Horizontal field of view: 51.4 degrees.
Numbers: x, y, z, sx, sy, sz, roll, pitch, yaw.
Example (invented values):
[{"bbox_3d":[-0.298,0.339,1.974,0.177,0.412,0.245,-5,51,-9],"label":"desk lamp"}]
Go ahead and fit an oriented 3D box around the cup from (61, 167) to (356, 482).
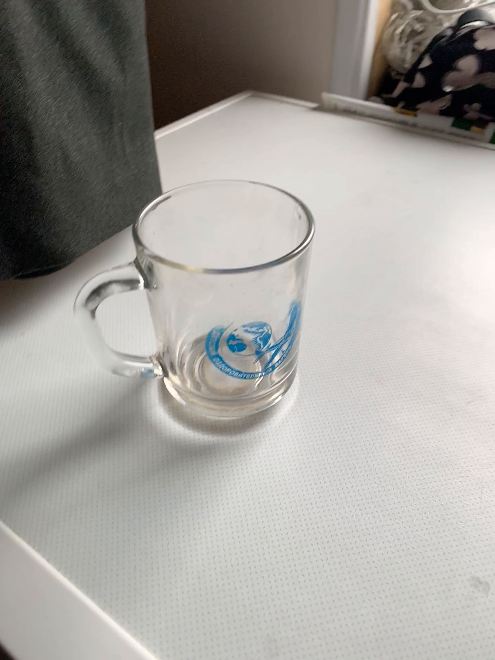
[{"bbox_3d":[-0.018,-0.004,0.211,0.090,0.089,0.071,-12,43,-12],"label":"cup"}]
